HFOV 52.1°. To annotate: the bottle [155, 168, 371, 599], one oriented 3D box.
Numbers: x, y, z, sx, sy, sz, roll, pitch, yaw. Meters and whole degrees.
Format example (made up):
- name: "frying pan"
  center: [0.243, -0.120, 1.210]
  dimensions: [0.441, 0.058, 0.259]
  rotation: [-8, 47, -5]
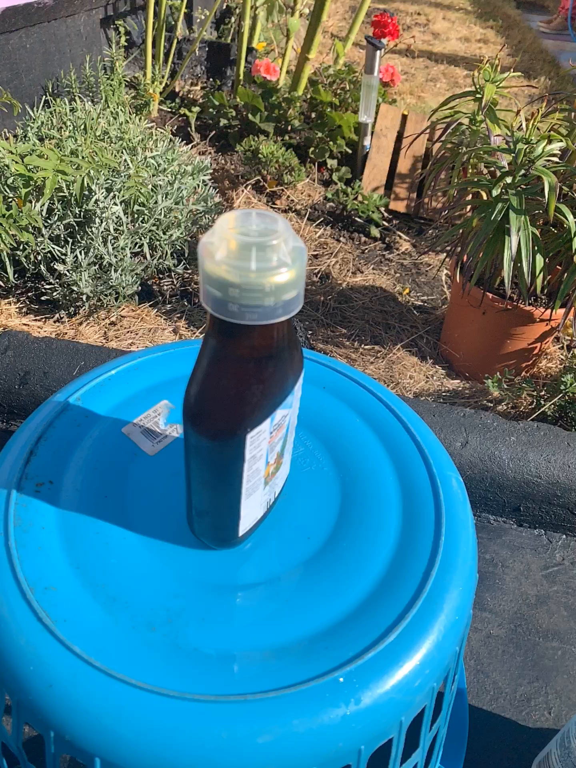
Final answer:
- name: "bottle"
  center: [-0.017, 0.009, 0.292]
  dimensions: [0.050, 0.198, 0.081]
  rotation: [24, 41, 19]
